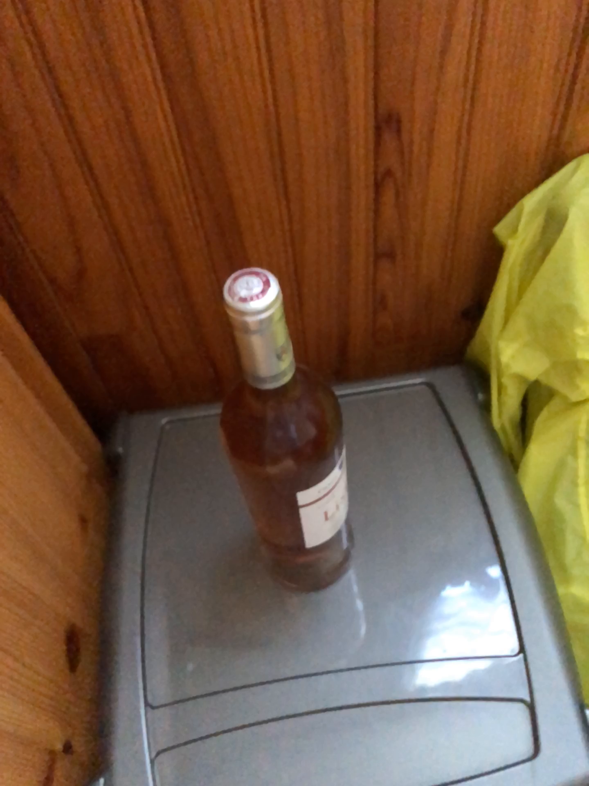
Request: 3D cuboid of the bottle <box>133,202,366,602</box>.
[{"bbox_3d":[-0.005,0.035,0.434,0.080,0.318,0.080,-3,54,5],"label":"bottle"}]
